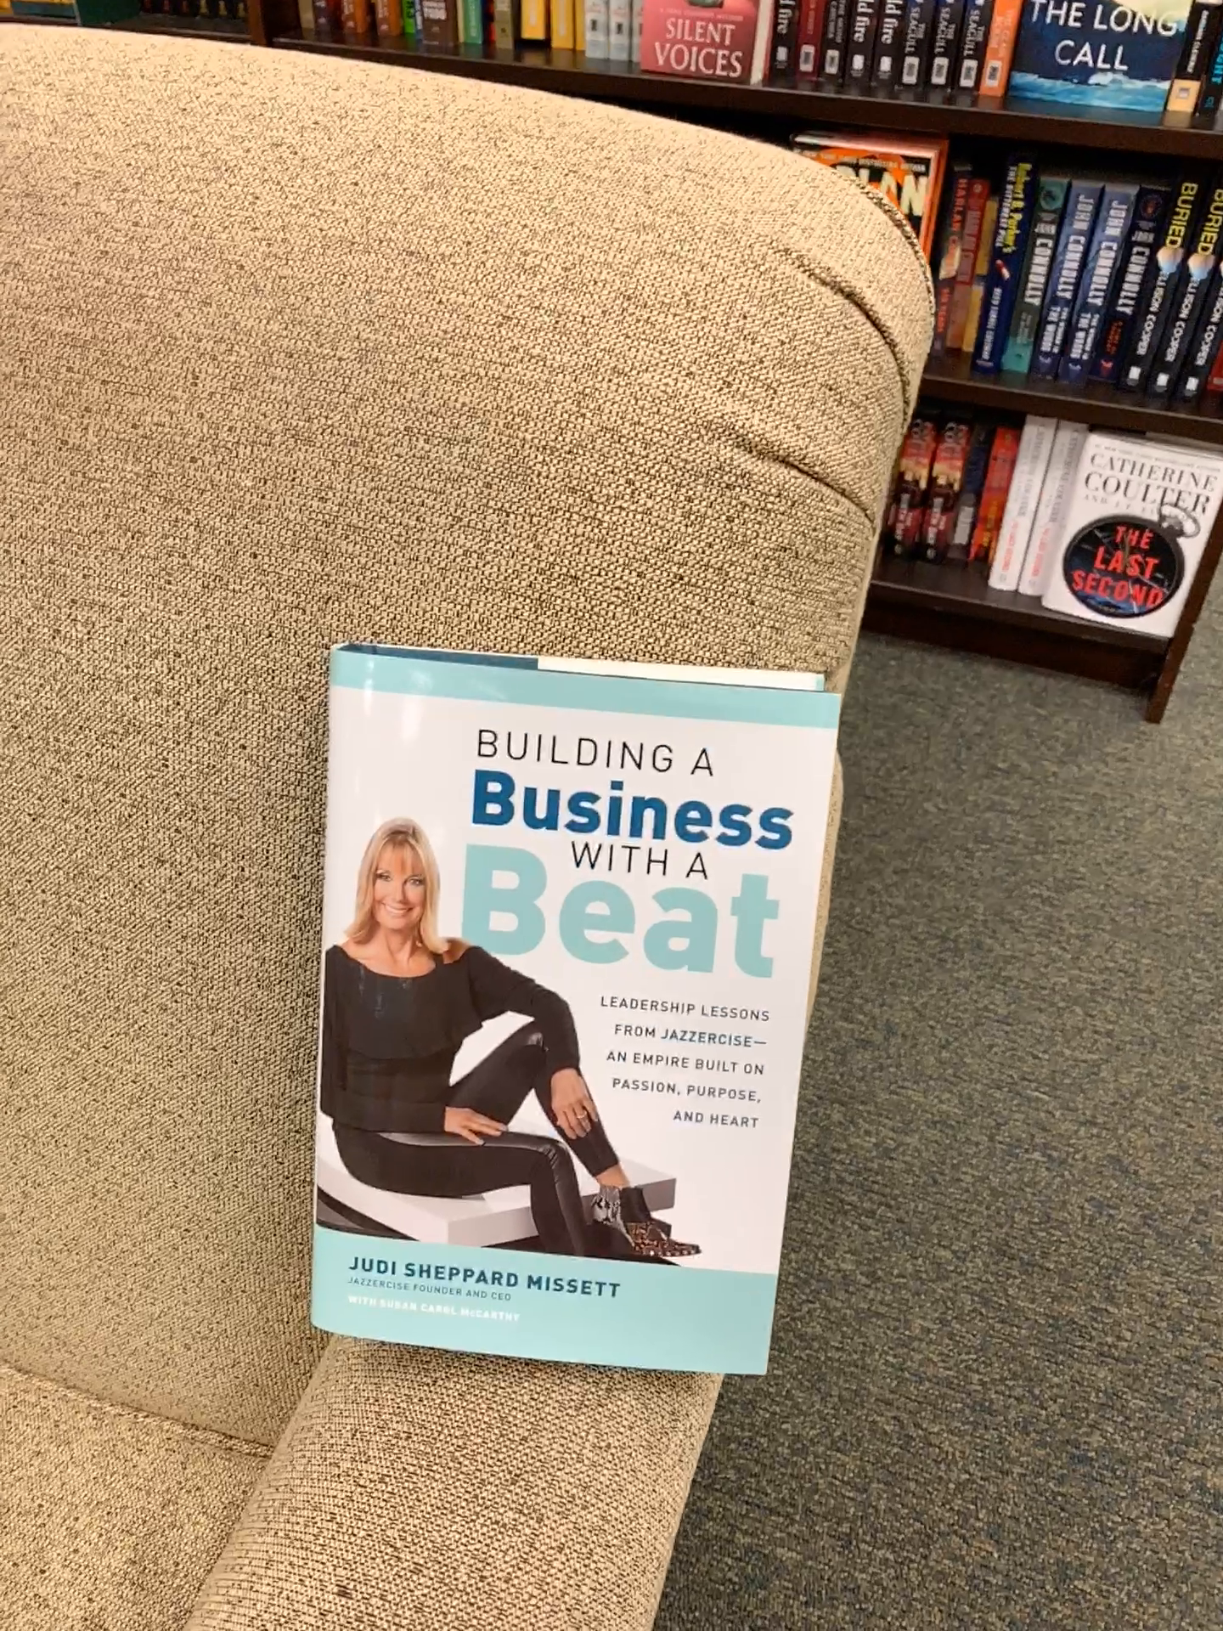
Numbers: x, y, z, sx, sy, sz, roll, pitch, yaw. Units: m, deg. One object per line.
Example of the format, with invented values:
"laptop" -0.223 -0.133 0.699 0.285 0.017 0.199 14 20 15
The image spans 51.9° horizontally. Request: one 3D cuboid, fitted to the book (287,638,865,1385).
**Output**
"book" -0.015 0.063 0.411 0.170 0.230 0.040 4 13 5
